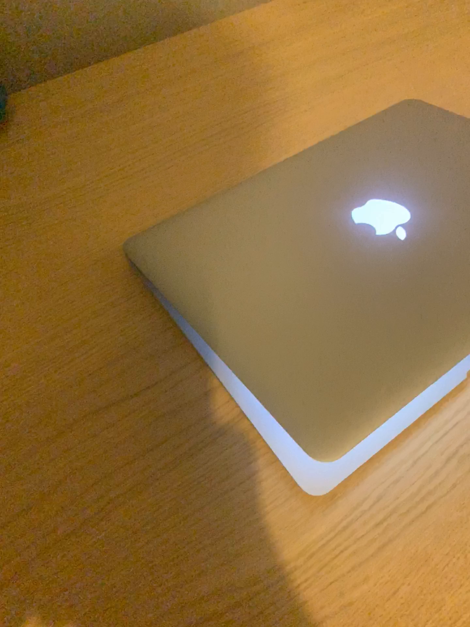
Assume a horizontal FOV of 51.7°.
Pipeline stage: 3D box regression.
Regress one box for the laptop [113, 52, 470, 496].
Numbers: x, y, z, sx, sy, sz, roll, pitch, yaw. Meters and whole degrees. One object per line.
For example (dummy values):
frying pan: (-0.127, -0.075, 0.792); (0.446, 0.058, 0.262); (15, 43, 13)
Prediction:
laptop: (0.109, -0.065, 0.354); (0.320, 0.048, 0.218); (-32, 63, -19)
